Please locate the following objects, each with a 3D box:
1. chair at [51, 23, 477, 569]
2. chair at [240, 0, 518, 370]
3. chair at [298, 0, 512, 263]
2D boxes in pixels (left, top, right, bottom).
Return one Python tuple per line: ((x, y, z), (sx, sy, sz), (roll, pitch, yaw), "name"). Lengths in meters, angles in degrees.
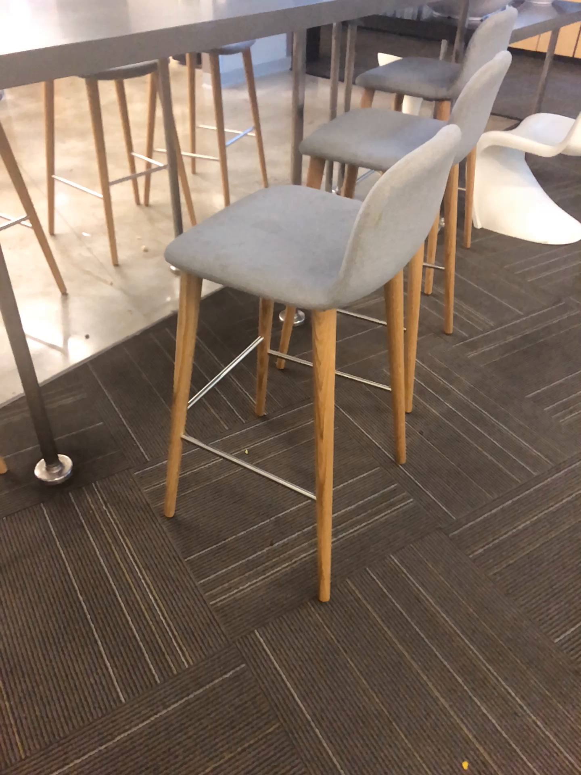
((-0.016, -0.191, 1.424), (0.540, 0.942, 0.575), (18, 44, 18), "chair")
((0.242, -0.657, 1.927), (0.540, 0.942, 0.575), (18, 44, 18), "chair")
((0.409, -1.139, 2.520), (0.540, 1.031, 0.544), (22, 45, 22), "chair")
